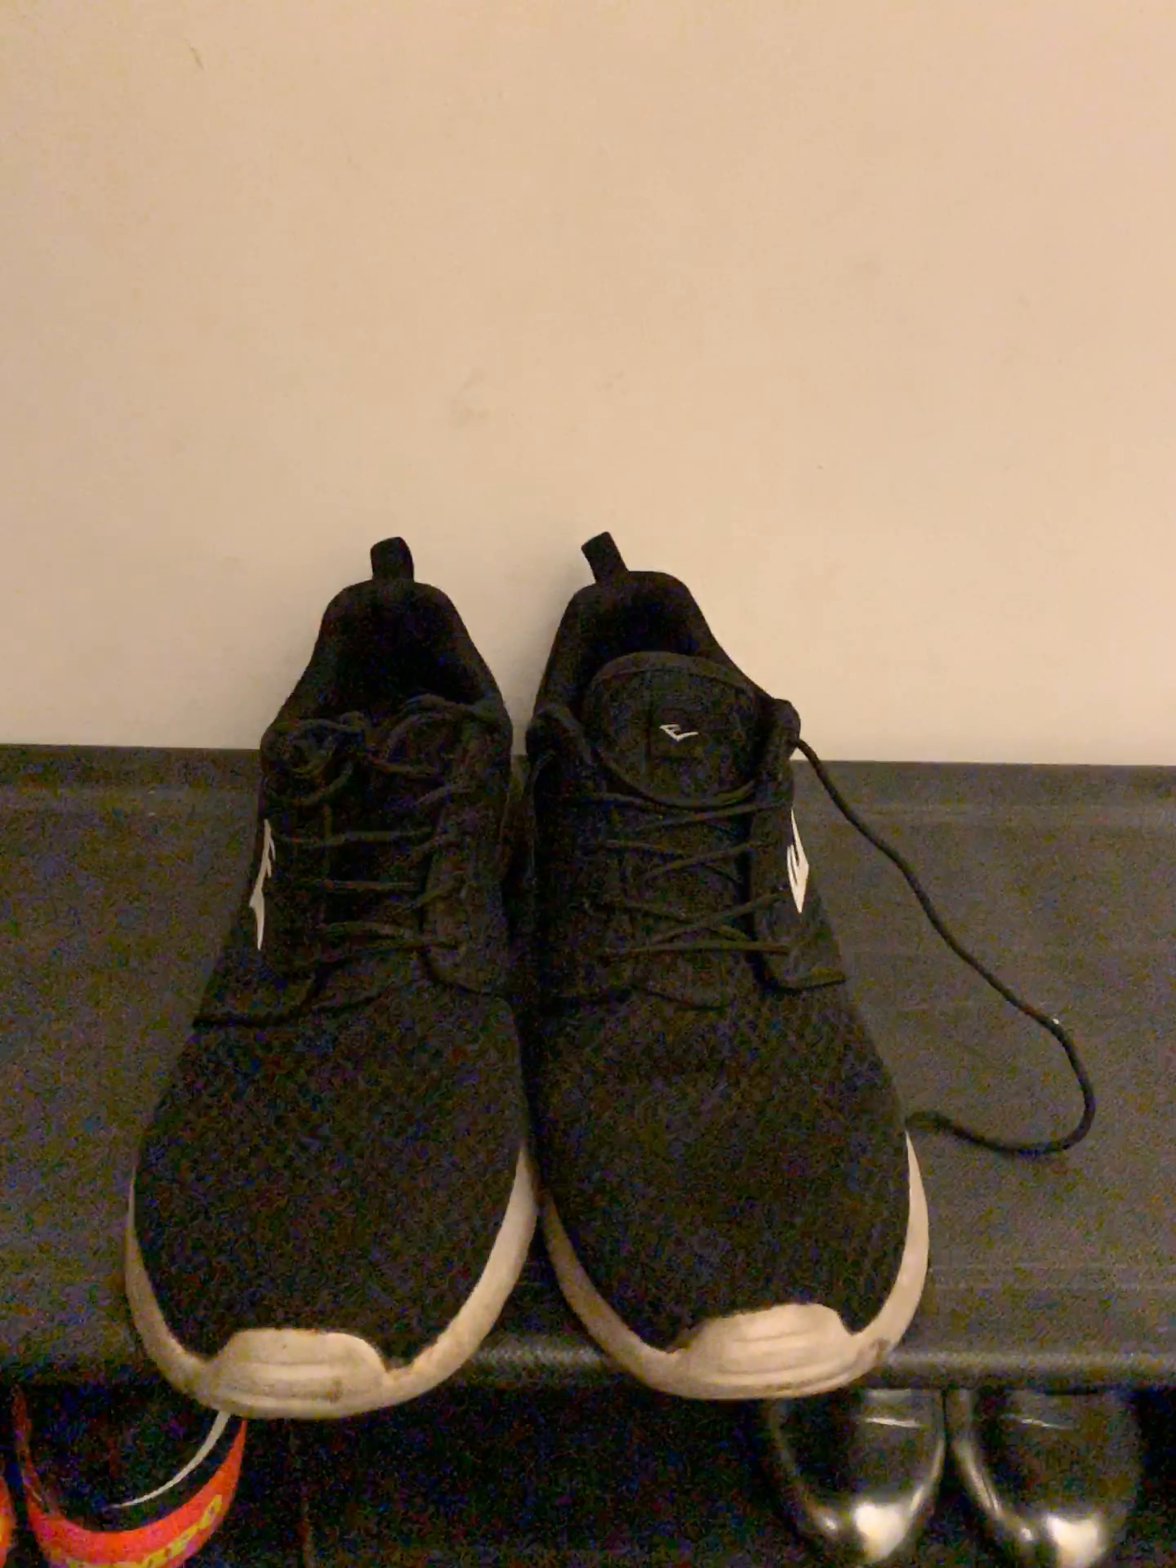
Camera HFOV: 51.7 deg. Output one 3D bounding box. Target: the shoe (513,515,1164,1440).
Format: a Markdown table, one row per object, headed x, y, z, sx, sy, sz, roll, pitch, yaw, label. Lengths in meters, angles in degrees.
| x | y | z | sx | sy | sz | roll | pitch | yaw | label |
| --- | --- | --- | --- | --- | --- | --- | --- | --- | --- |
| 0.039 | 0.022 | 0.374 | 0.120 | 0.099 | 0.303 | 0 | 34 | -3 | shoe |

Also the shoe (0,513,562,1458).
| x | y | z | sx | sy | sz | roll | pitch | yaw | label |
| --- | --- | --- | --- | --- | --- | --- | --- | --- | --- |
| -0.065 | 0.023 | 0.367 | 0.110 | 0.099 | 0.303 | 1 | 34 | -2 | shoe |
